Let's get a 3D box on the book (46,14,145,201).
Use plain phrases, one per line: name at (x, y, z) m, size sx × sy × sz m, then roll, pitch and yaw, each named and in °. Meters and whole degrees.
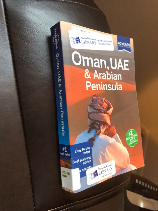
book at (0.031, -0.001, 0.245) m, size 0.138 × 0.030 × 0.203 m, roll -4°, pitch 90°, yaw -37°
